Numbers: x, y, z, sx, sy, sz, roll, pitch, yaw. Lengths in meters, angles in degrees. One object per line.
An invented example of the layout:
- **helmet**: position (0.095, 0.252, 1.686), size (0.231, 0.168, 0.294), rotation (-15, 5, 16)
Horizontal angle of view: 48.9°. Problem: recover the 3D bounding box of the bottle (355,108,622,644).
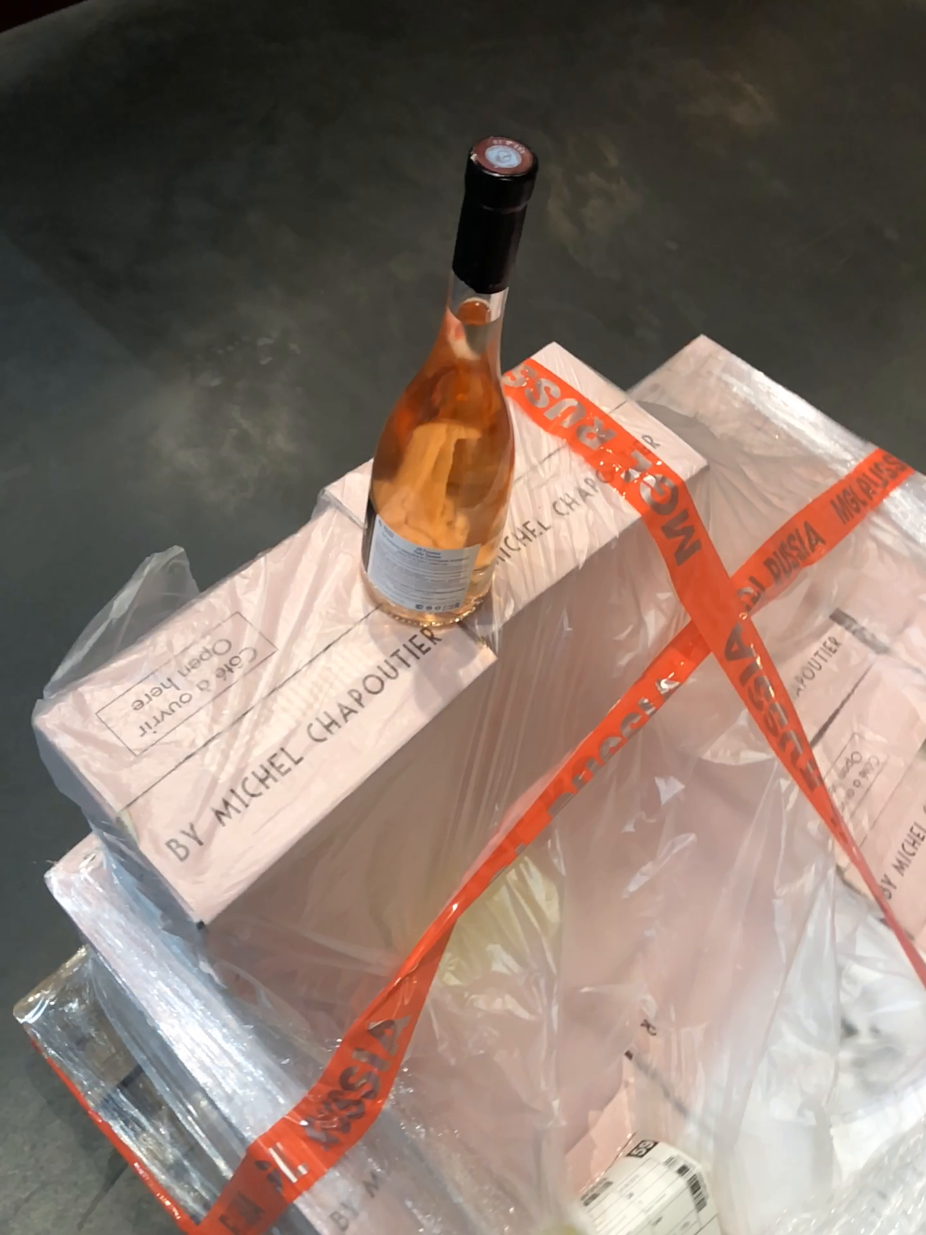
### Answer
- **bottle**: position (0.002, -0.105, 0.546), size (0.096, 0.279, 0.100), rotation (4, 58, -6)
